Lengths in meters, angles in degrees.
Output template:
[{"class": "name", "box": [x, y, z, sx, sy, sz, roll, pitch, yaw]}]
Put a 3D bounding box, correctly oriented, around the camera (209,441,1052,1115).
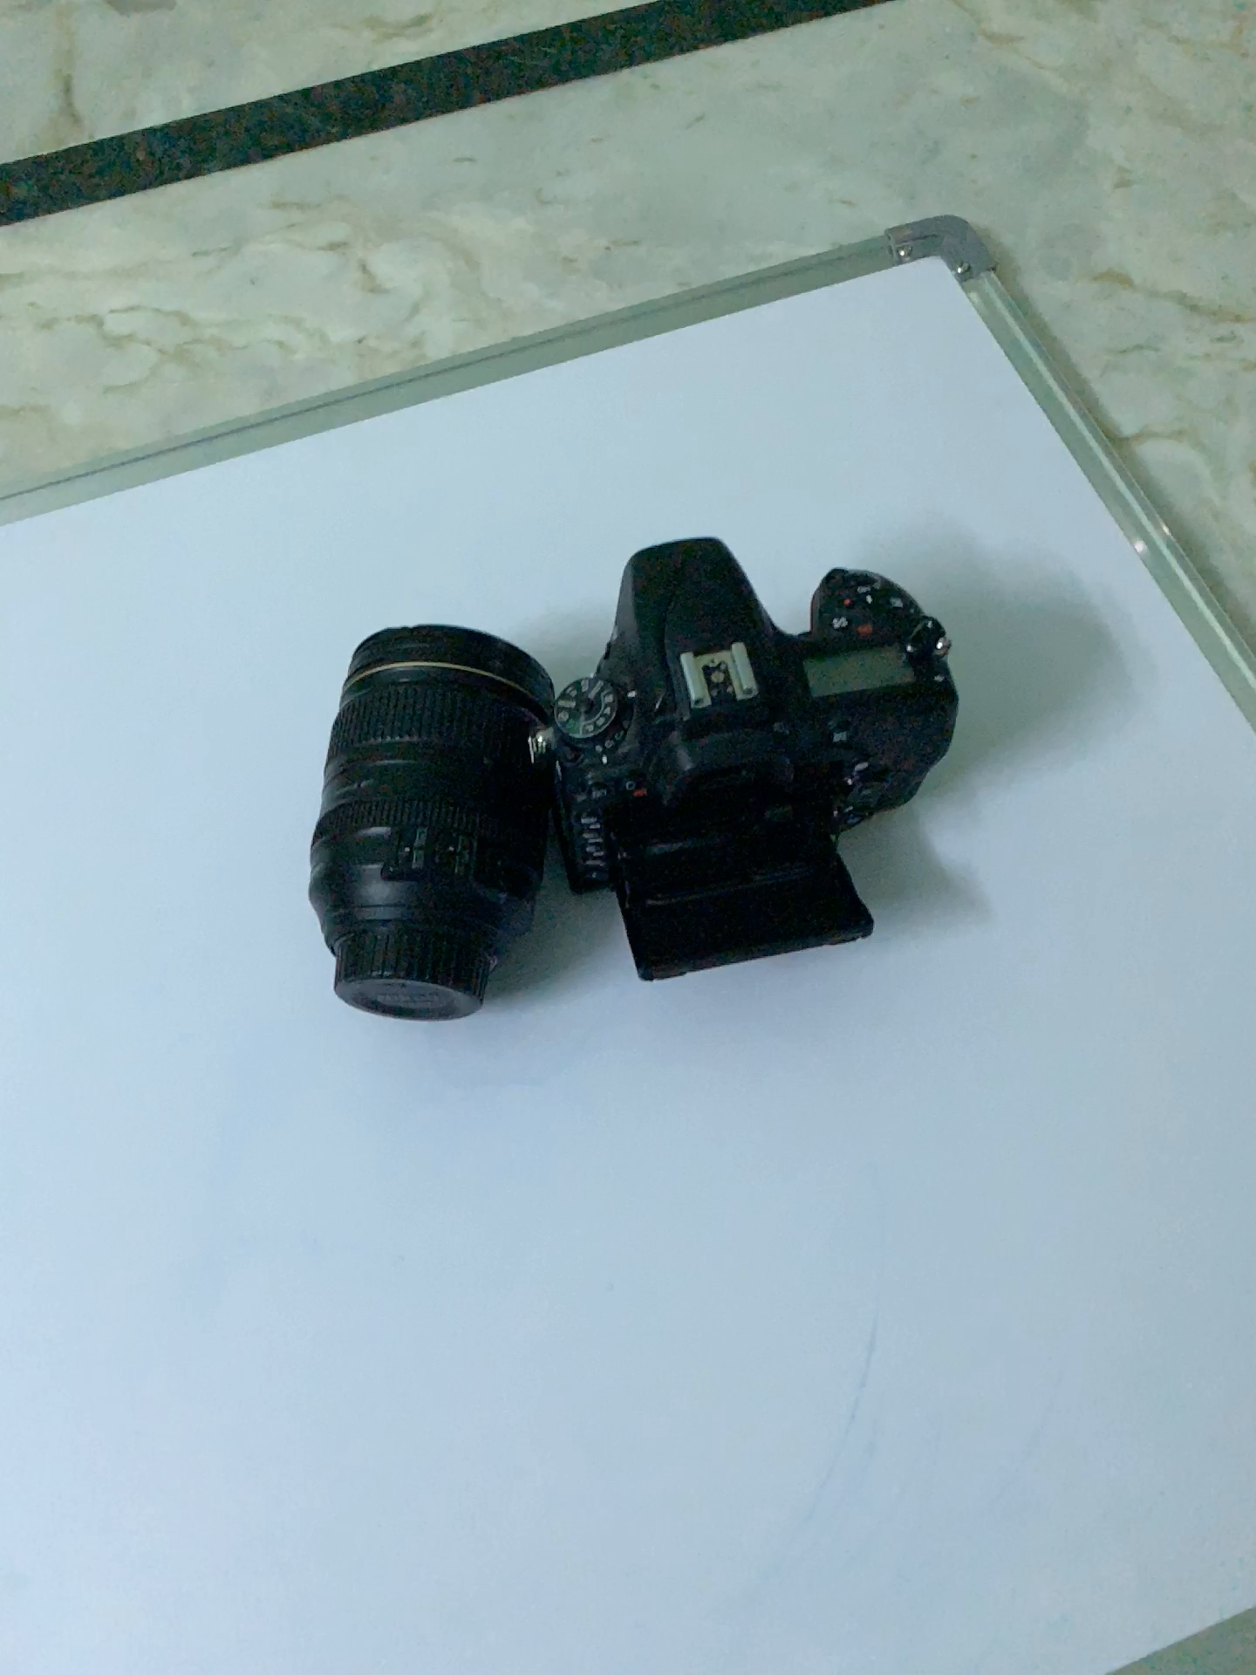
[{"class": "camera", "box": [-0.005, -0.021, 0.464, 0.240, 0.100, 0.160, -15, 65, -6]}]
